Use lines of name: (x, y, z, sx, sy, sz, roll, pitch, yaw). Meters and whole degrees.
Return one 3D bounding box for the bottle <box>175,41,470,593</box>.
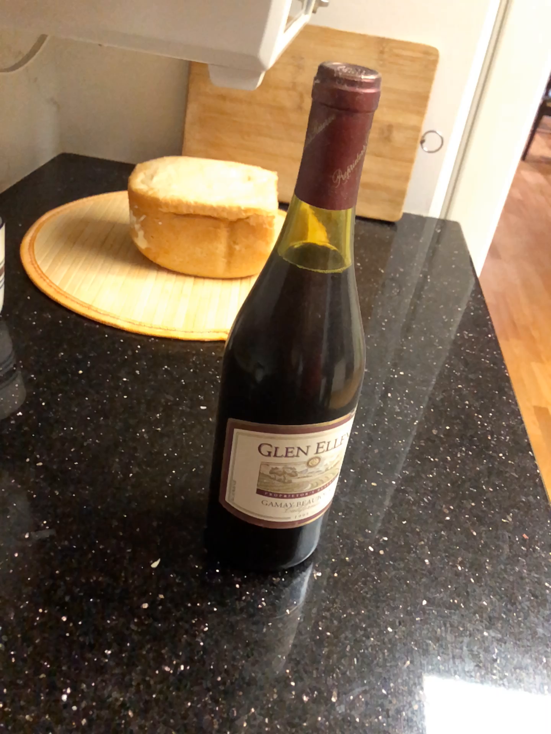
bottle: (0.000, -0.007, 0.336, 0.090, 0.288, 0.090, 6, 35, -4)
